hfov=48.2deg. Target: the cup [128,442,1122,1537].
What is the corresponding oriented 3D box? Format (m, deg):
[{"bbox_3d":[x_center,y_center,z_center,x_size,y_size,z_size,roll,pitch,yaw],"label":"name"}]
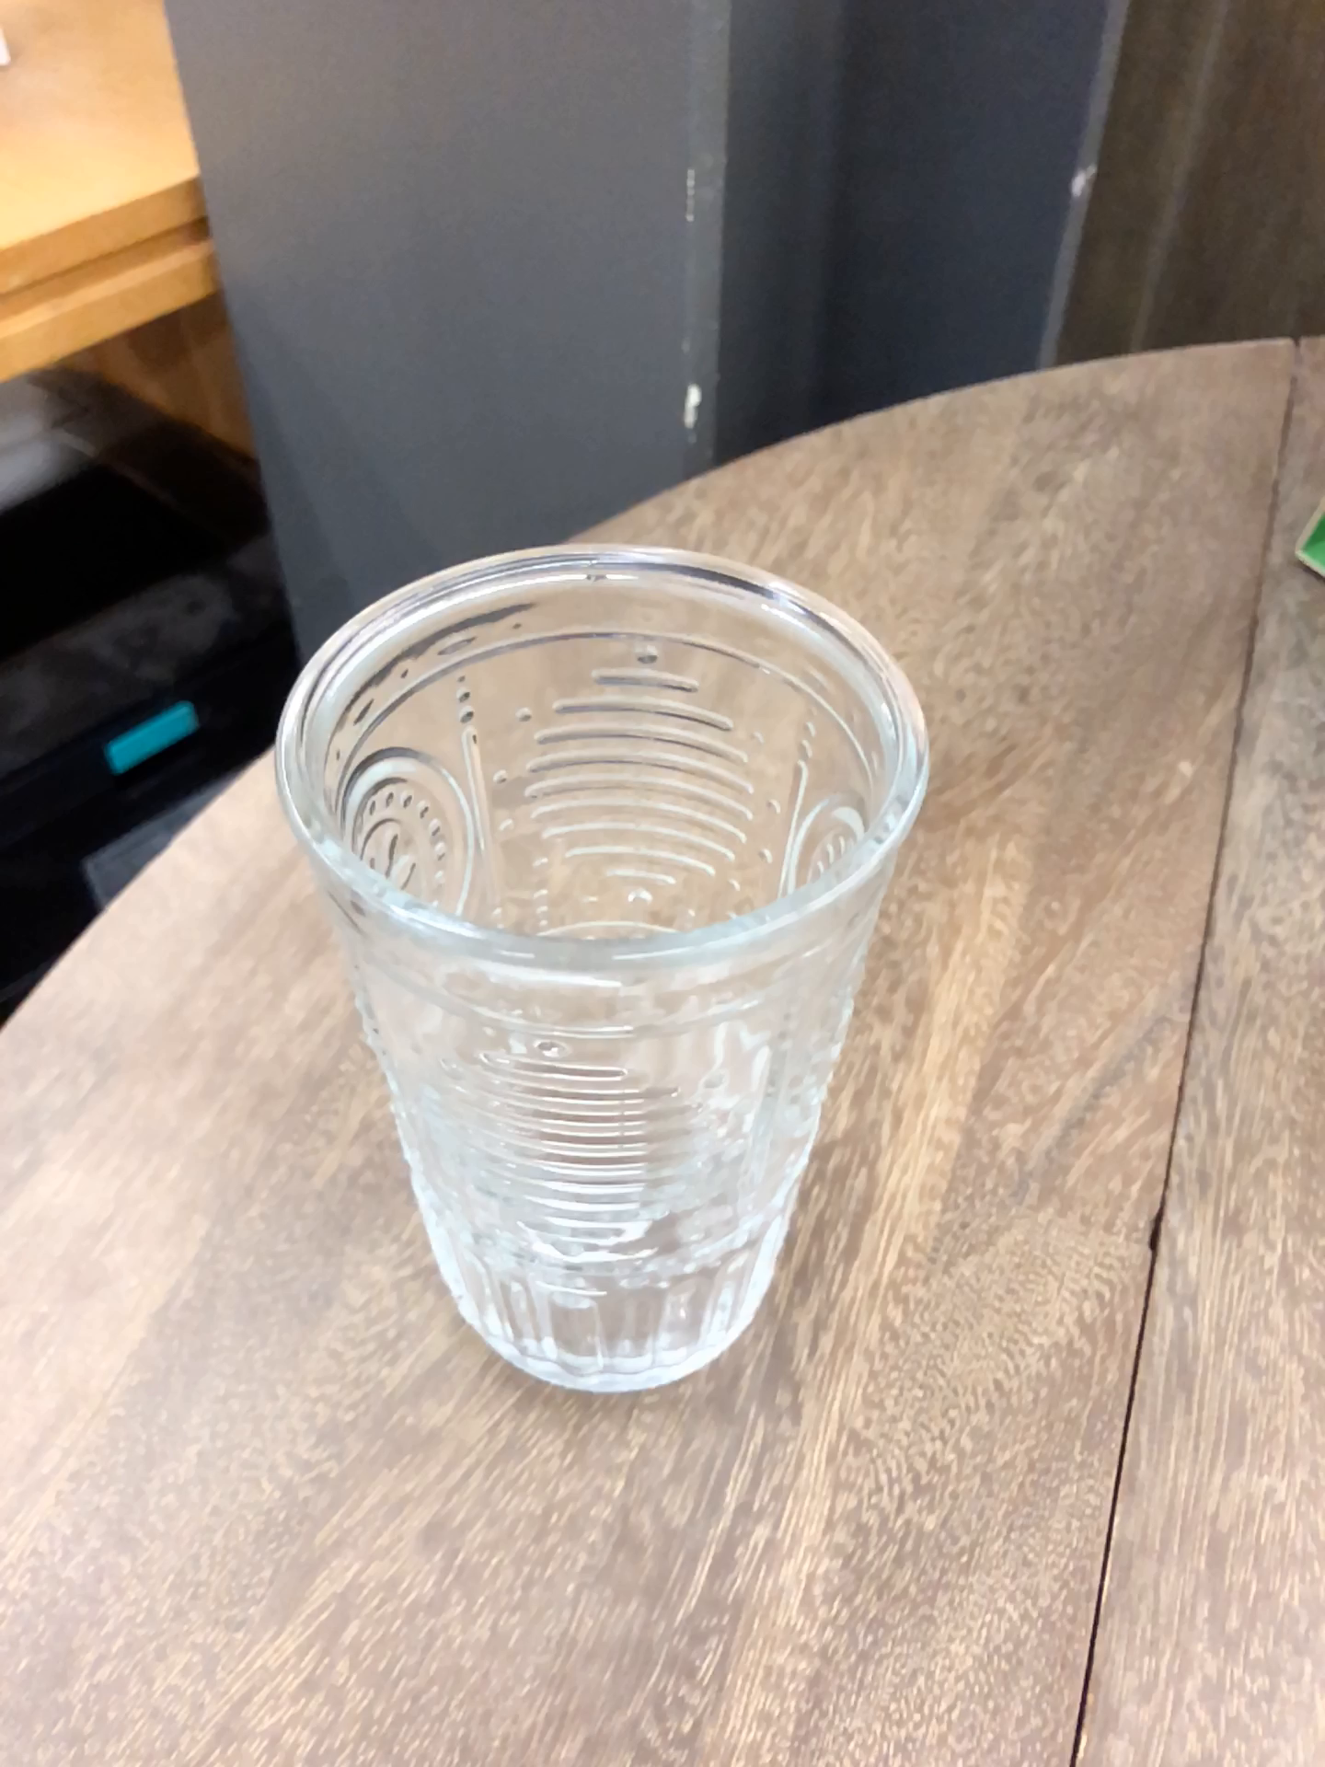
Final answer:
[{"bbox_3d":[-0.006,0.014,0.220,0.088,0.107,0.086,0,46,0],"label":"cup"}]
